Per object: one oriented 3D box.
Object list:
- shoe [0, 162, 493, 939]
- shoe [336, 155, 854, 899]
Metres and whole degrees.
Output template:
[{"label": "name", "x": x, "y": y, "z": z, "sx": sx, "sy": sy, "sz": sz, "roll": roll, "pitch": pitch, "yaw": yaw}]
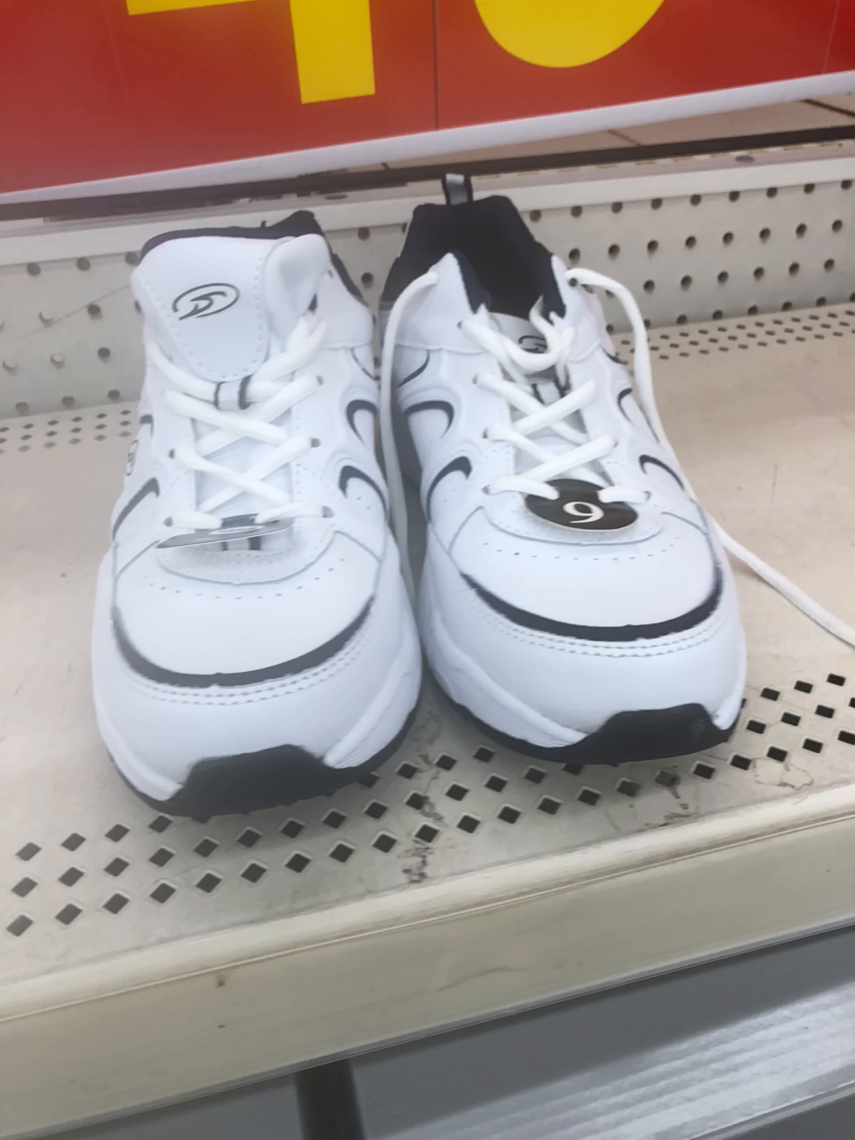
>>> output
[{"label": "shoe", "x": -0.054, "y": -0.036, "z": 0.314, "sx": 0.110, "sy": 0.120, "sz": 0.261, "roll": -5, "pitch": 36, "yaw": -4}, {"label": "shoe", "x": 0.042, "y": -0.044, "z": 0.326, "sx": 0.110, "sy": 0.120, "sz": 0.261, "roll": -7, "pitch": 36, "yaw": -7}]
